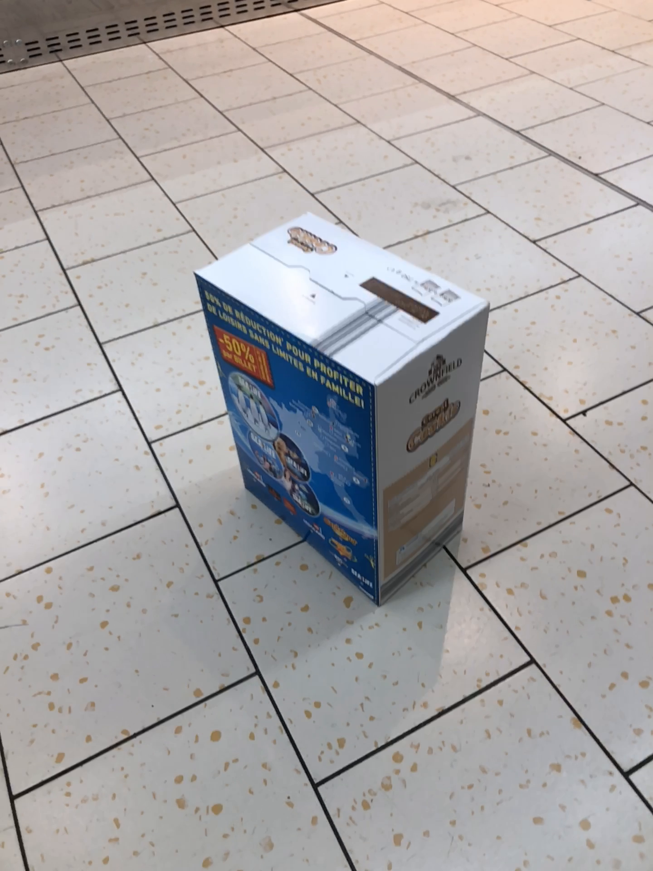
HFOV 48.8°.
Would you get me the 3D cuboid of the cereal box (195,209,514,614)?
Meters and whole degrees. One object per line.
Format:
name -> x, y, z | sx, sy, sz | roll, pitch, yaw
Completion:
cereal box -> 0.021, -0.019, 0.597 | 0.121, 0.249, 0.200 | -35, 52, -27
